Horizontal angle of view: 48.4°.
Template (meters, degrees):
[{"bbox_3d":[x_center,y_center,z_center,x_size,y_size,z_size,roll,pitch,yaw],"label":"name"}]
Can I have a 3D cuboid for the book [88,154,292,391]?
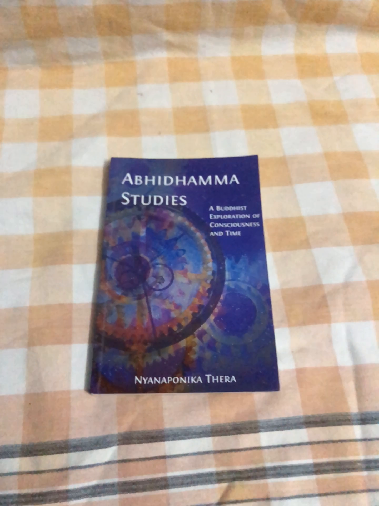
[{"bbox_3d":[-0.001,0.006,0.363,0.150,0.020,0.210,0,65,-2],"label":"book"}]
